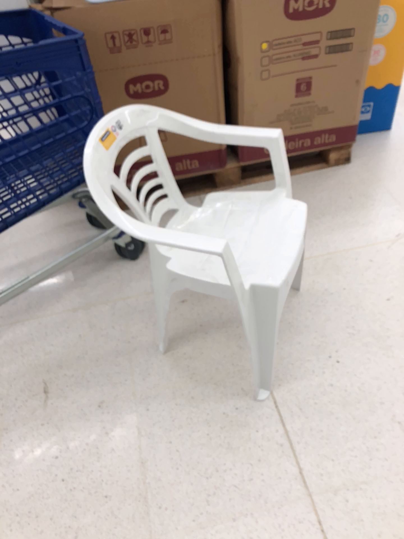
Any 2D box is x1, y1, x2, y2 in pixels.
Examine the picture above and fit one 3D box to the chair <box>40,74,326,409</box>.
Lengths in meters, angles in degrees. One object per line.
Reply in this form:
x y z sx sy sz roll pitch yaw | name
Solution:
0.020 -0.079 1.251 0.500 0.695 0.523 10 46 17 | chair
